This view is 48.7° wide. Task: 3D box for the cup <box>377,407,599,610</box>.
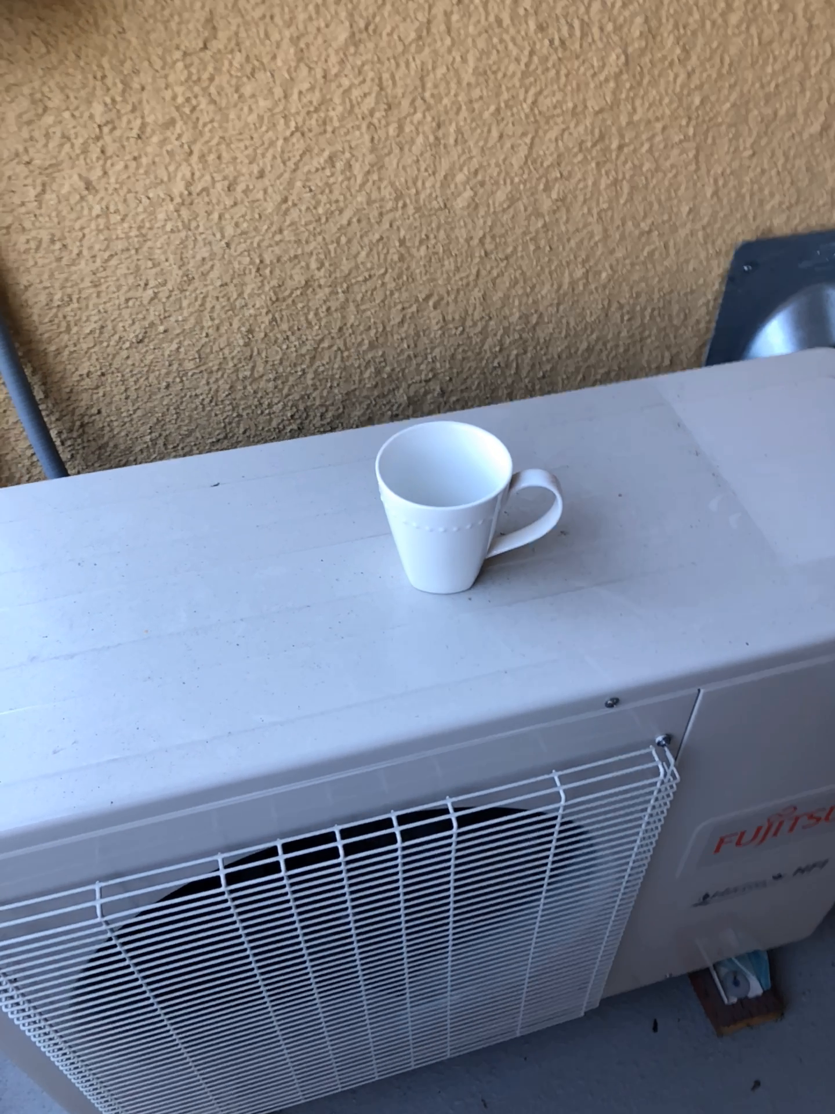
[{"bbox_3d":[0.044,-0.036,0.666,0.140,0.100,0.100,-2,45,-4],"label":"cup"}]
